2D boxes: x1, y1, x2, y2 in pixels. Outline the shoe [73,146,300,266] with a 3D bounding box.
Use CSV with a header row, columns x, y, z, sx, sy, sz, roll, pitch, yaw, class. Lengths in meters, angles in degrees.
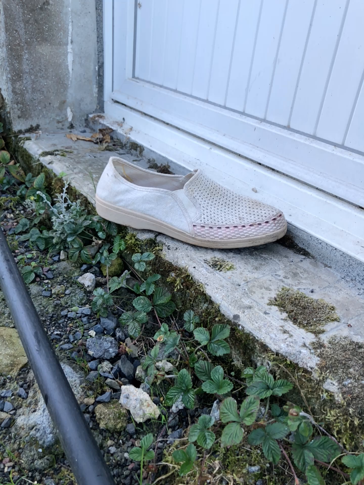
x,y,z,sx,sy,sz,roll,pitch,yaw,class
0.007,-0.056,0.541,0.280,0.080,0.101,12,30,9,shoe
